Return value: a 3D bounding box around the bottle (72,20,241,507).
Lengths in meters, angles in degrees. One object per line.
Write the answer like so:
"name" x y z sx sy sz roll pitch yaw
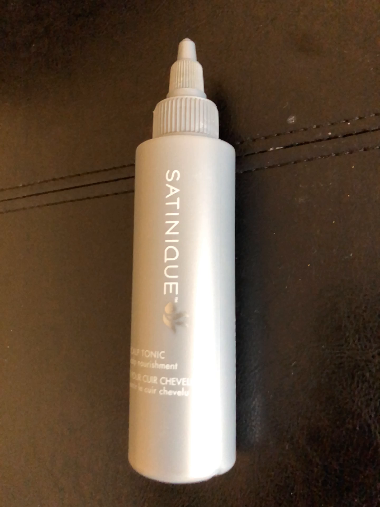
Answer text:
"bottle" -0.009 0.005 0.144 0.040 0.040 0.140 -2 84 25
